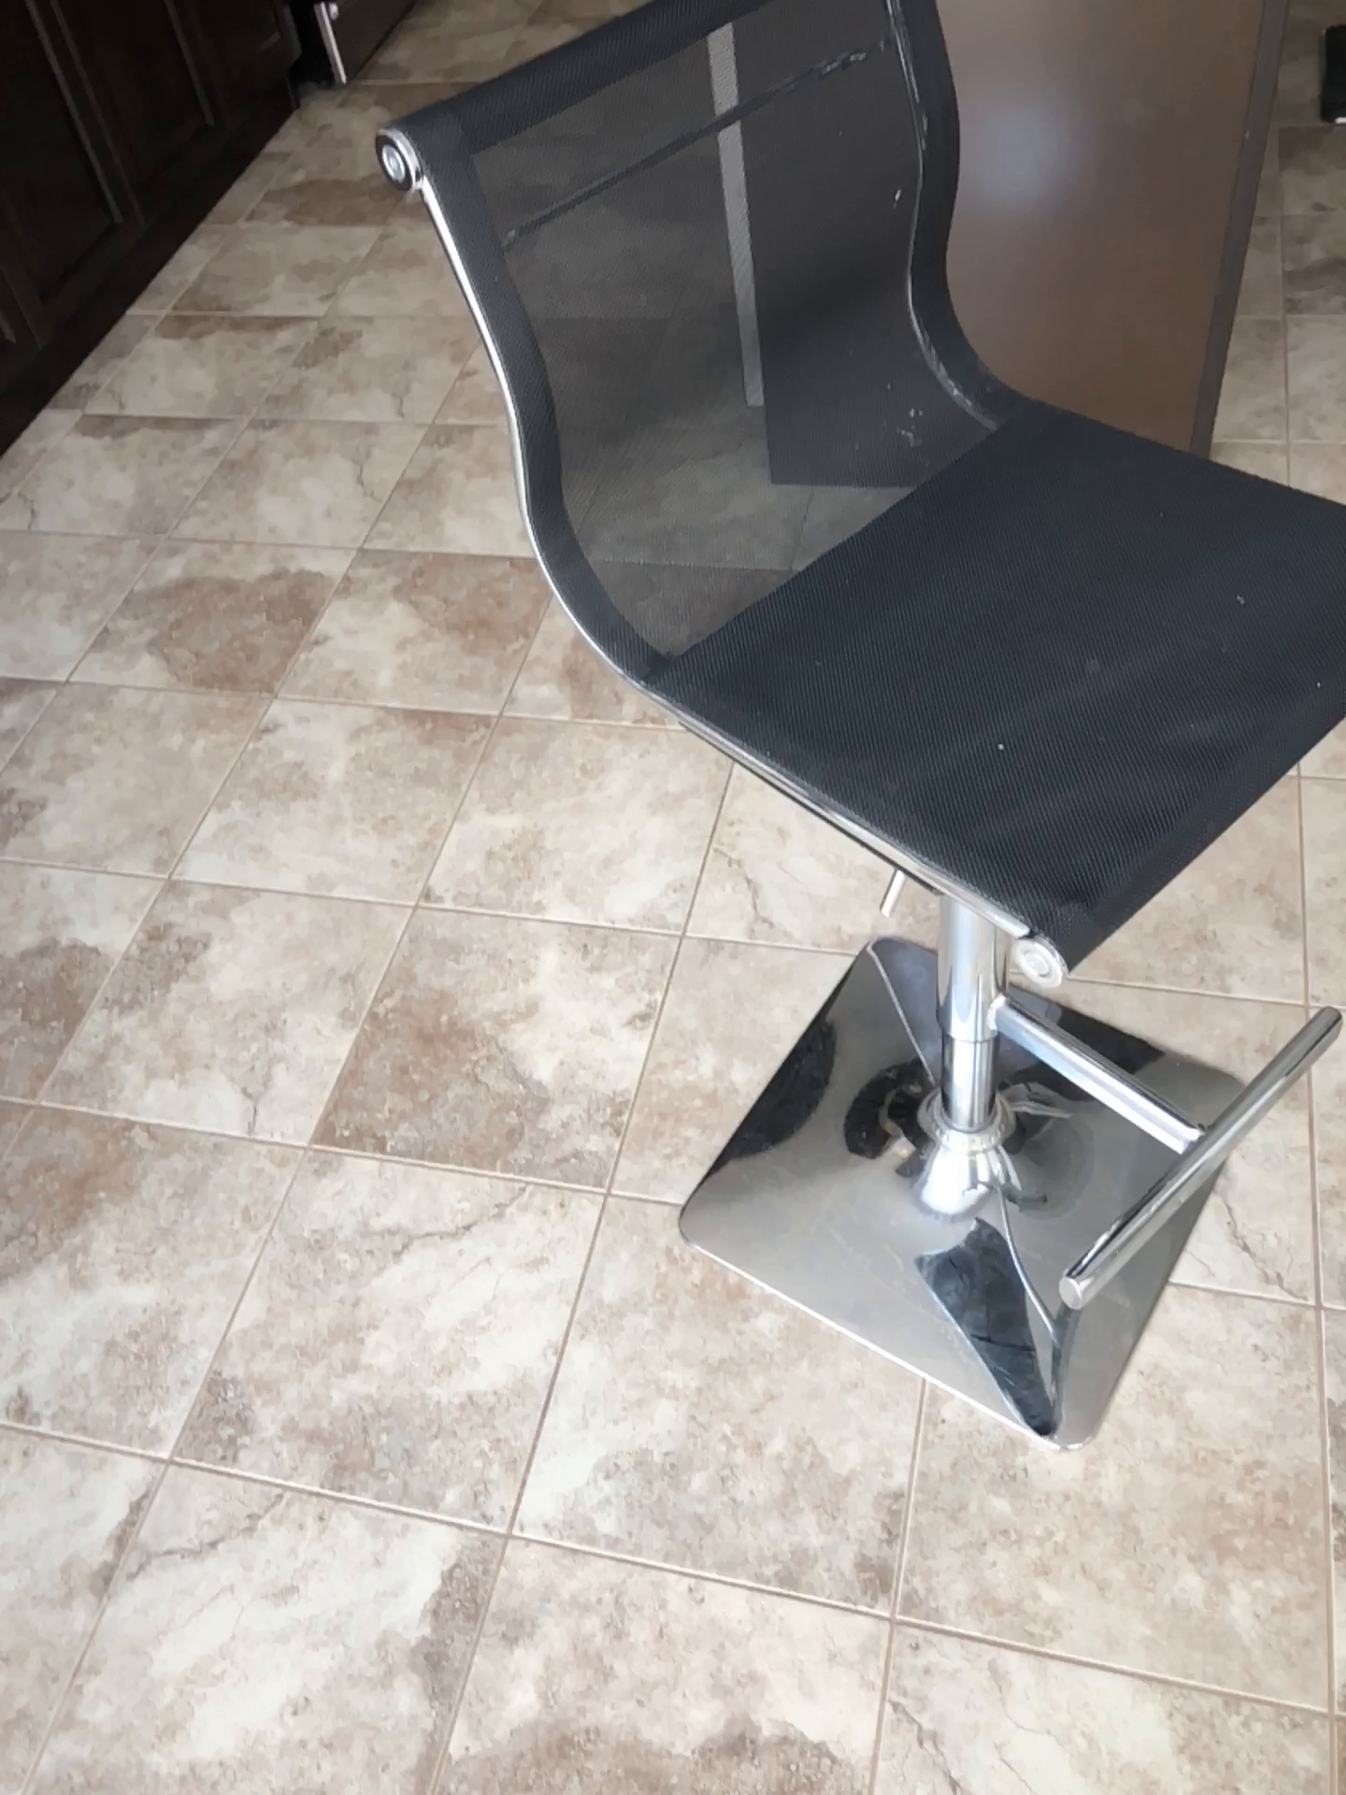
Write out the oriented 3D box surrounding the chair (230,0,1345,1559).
[{"bbox_3d":[0.224,-0.087,1.056,0.541,0.977,0.551,-38,54,-21],"label":"chair"}]
